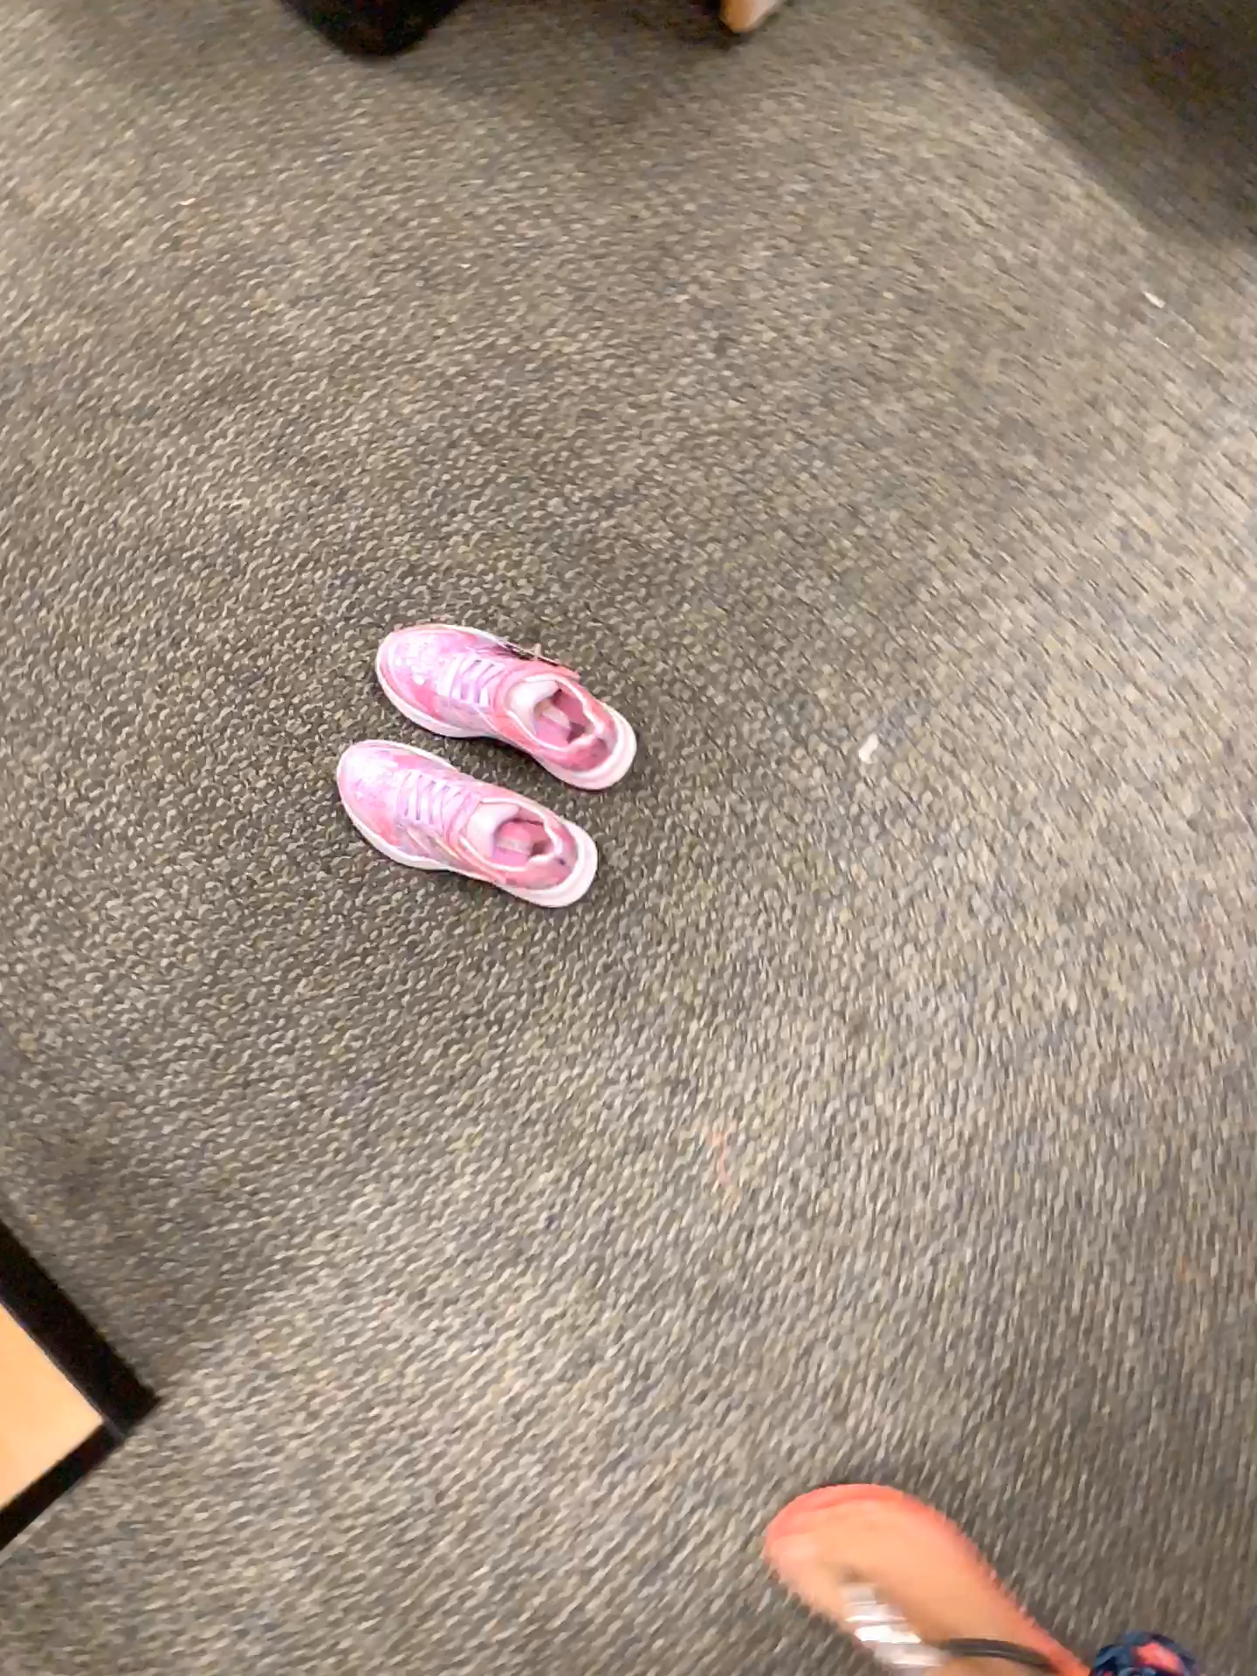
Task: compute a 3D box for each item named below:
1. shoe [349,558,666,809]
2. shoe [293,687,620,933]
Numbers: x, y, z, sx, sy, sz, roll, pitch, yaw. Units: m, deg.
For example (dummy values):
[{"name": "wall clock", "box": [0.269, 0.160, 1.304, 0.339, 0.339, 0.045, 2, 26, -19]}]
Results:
[{"name": "shoe", "box": [-0.084, -0.108, 0.932, 0.200, 0.110, 0.086, 23, 83, 2]}, {"name": "shoe", "box": [-0.115, -0.015, 0.904, 0.200, 0.110, 0.086, 23, 83, 2]}]
